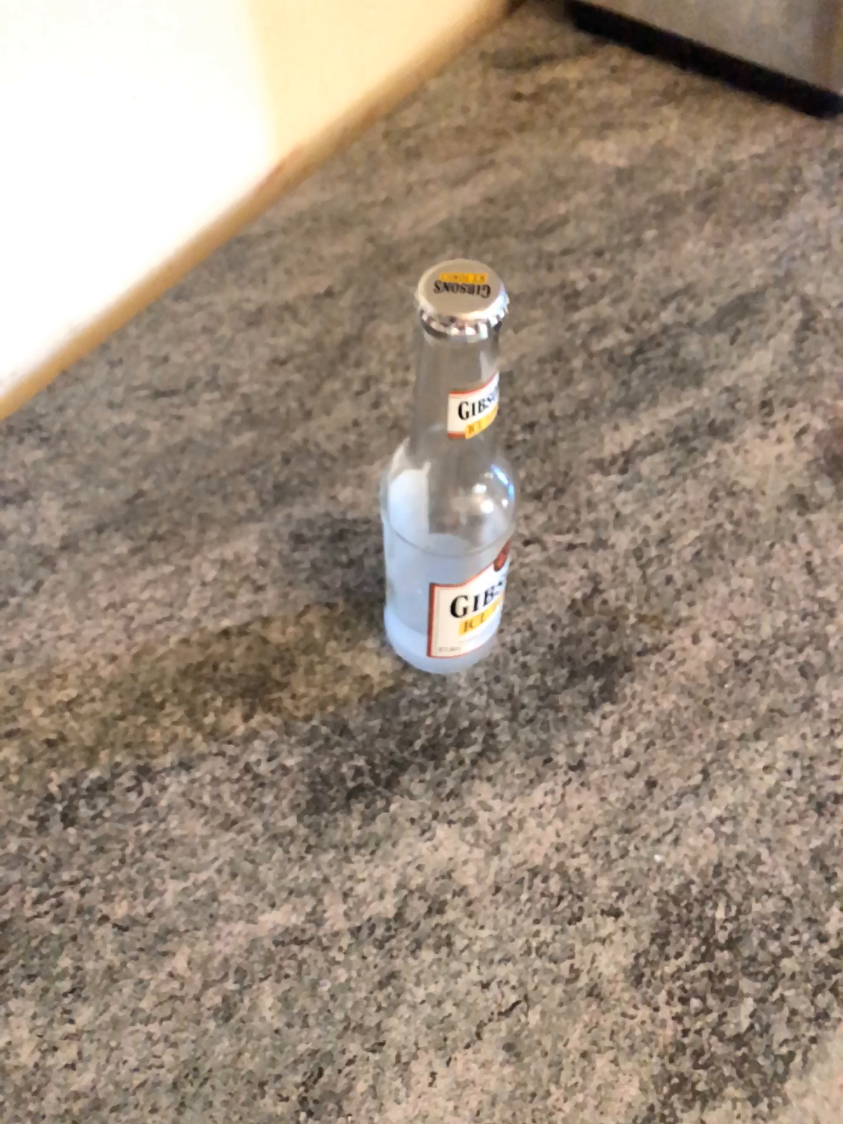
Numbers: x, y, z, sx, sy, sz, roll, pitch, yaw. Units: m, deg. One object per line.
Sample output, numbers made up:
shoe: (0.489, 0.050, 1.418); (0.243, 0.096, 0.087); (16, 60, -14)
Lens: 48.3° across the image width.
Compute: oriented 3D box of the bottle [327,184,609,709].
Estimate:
bottle: (0.015, -0.029, 0.373); (0.060, 0.209, 0.070); (26, 59, 16)
